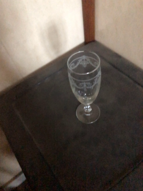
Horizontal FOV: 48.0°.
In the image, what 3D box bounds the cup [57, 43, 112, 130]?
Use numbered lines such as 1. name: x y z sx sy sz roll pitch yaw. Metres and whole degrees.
1. cup: 0.031 -0.005 0.307 0.060 0.169 0.060 -4 55 6
